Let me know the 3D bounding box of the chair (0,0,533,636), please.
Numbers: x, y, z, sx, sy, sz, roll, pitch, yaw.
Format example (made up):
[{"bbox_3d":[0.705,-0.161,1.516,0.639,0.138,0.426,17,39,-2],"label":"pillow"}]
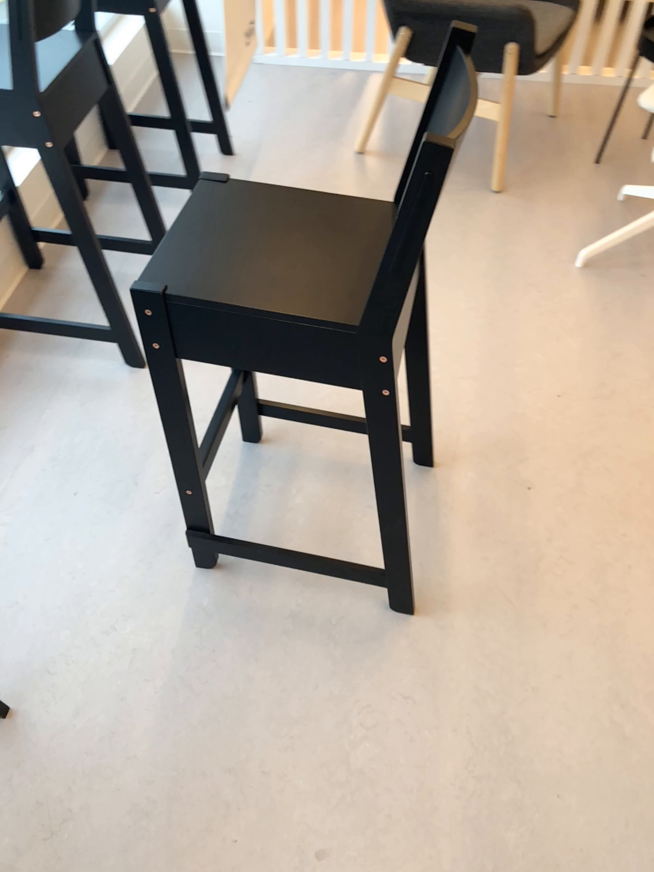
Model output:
[{"bbox_3d":[-0.049,-0.180,1.254,0.580,0.994,0.553,9,49,7],"label":"chair"}]
